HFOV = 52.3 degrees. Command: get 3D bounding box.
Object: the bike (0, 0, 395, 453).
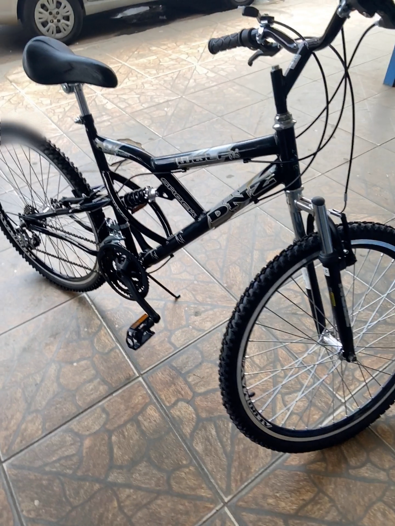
[{"bbox_3d":[-0.137,-0.264,1.121,1.585,1.154,0.606,14,48,21],"label":"bike"}]
